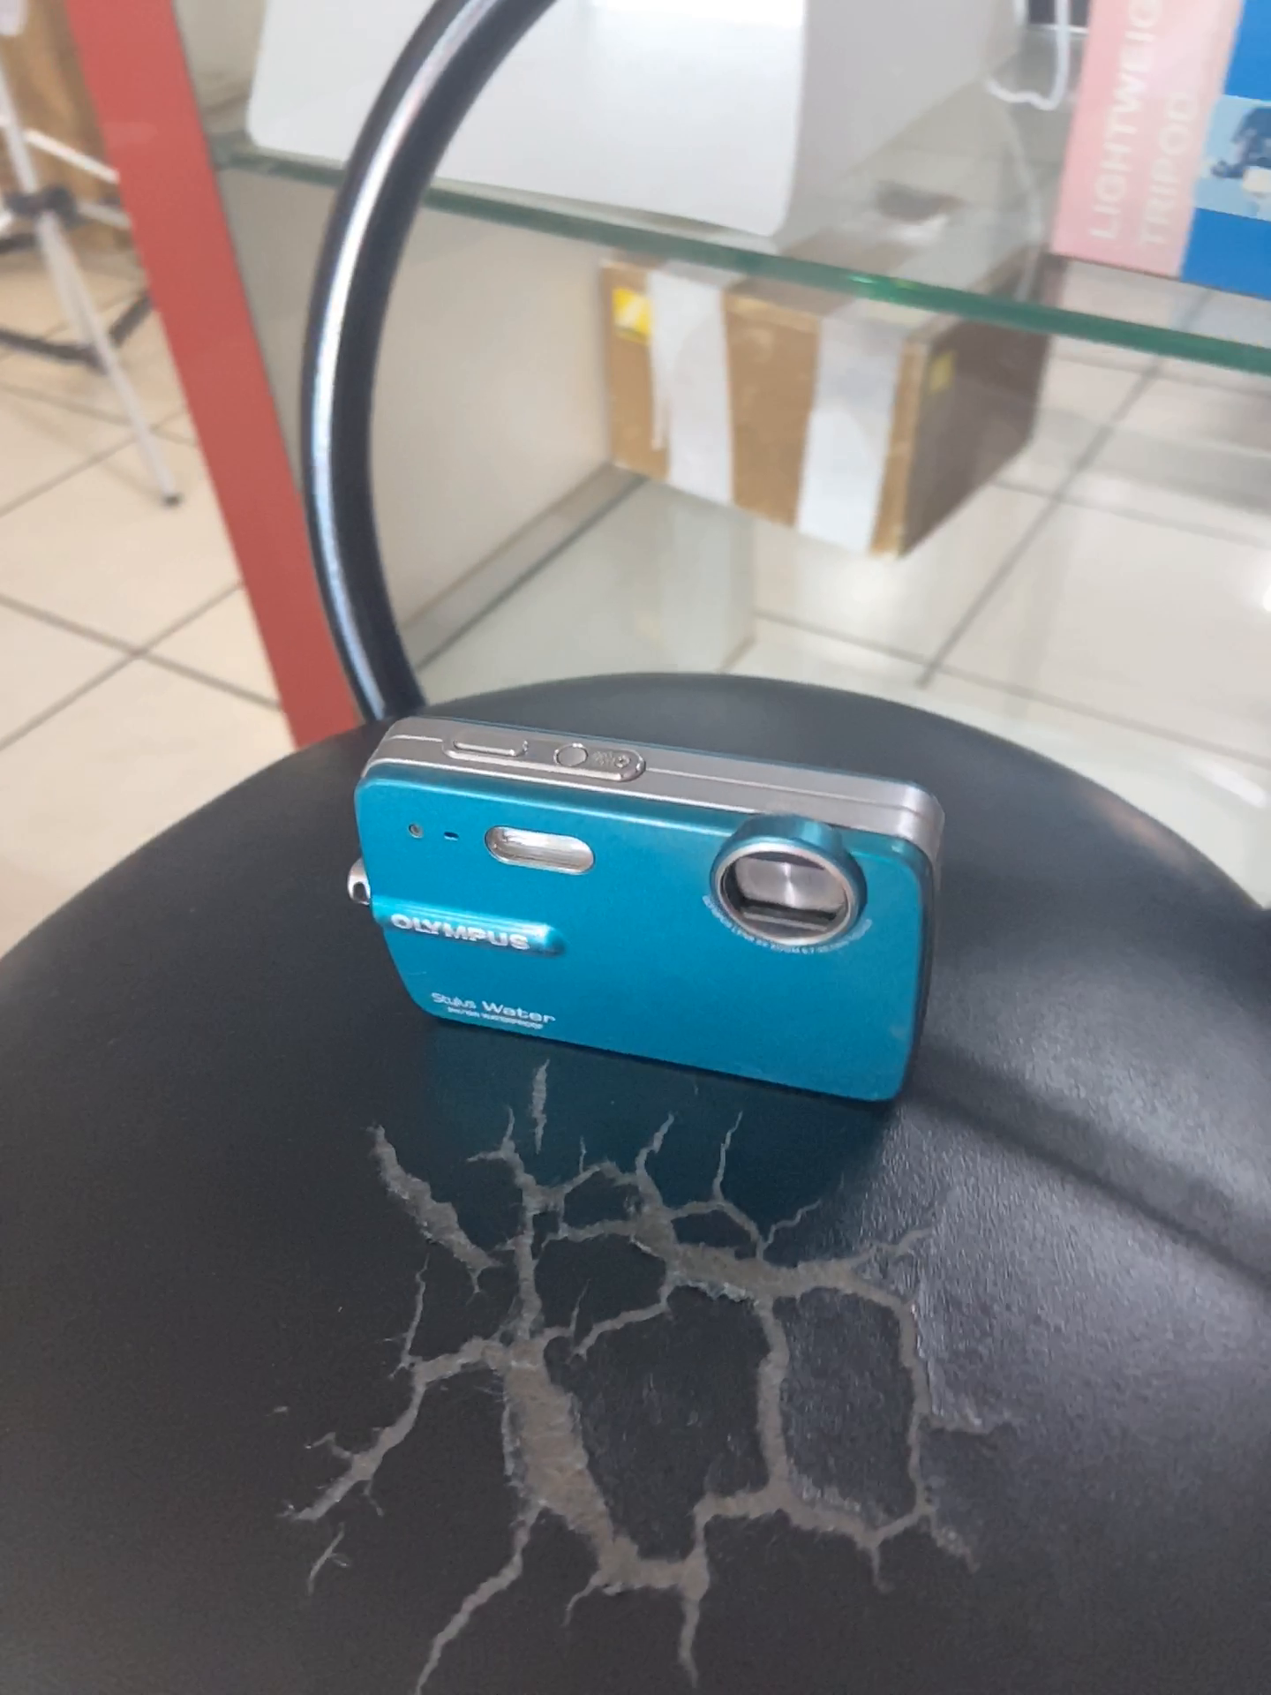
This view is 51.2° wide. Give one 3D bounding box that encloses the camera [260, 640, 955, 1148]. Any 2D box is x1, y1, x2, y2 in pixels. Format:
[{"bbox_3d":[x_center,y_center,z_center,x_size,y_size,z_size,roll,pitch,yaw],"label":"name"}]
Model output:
[{"bbox_3d":[-0.003,0.008,0.223,0.100,0.070,0.030,9,45,13],"label":"camera"}]
